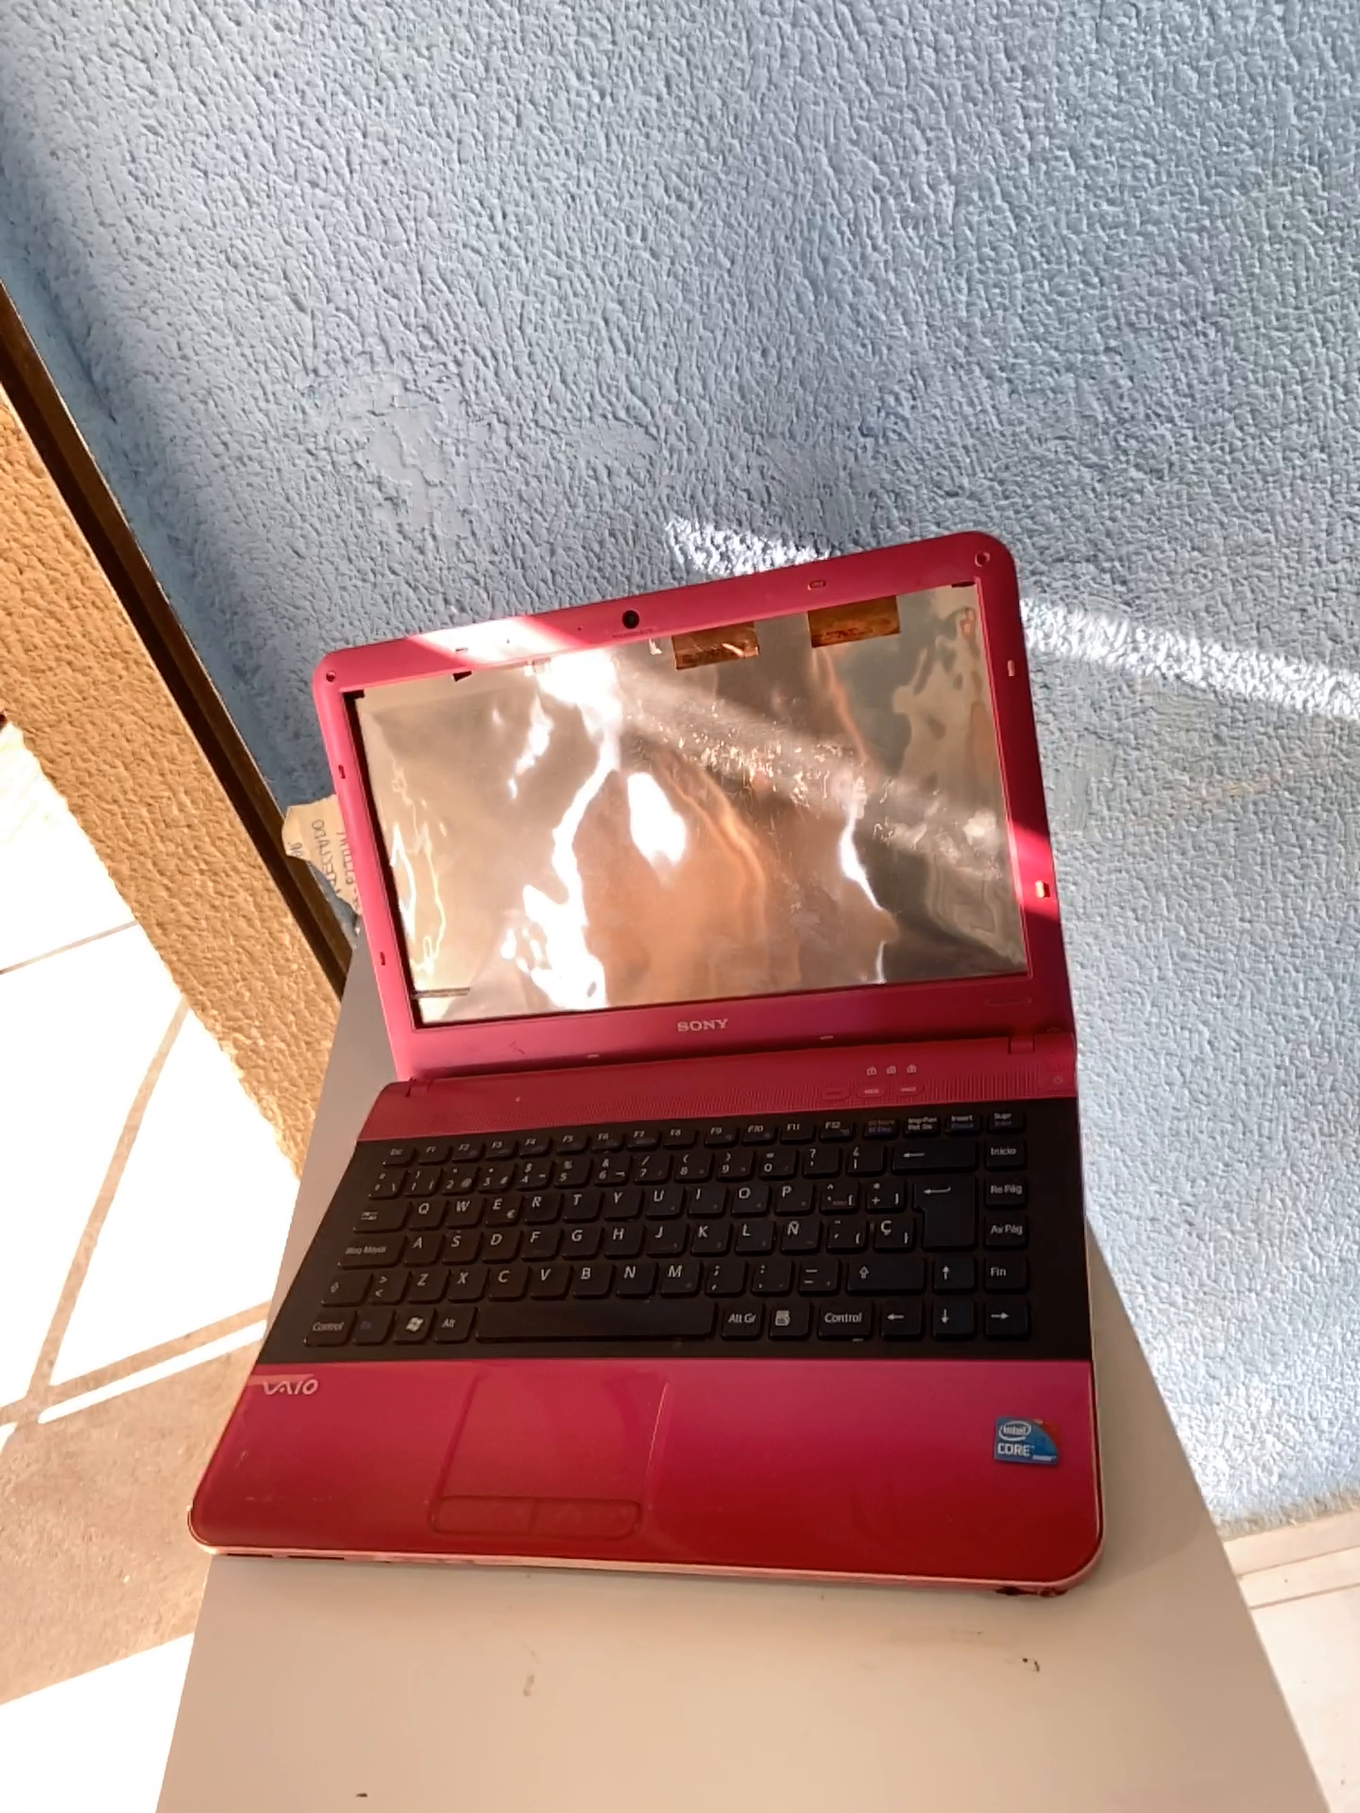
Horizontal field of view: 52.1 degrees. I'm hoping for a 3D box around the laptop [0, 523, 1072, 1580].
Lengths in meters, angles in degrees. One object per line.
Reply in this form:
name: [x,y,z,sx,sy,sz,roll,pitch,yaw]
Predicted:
laptop: [-0.030,0.041,0.560,0.330,0.187,0.341,-7,37,19]
